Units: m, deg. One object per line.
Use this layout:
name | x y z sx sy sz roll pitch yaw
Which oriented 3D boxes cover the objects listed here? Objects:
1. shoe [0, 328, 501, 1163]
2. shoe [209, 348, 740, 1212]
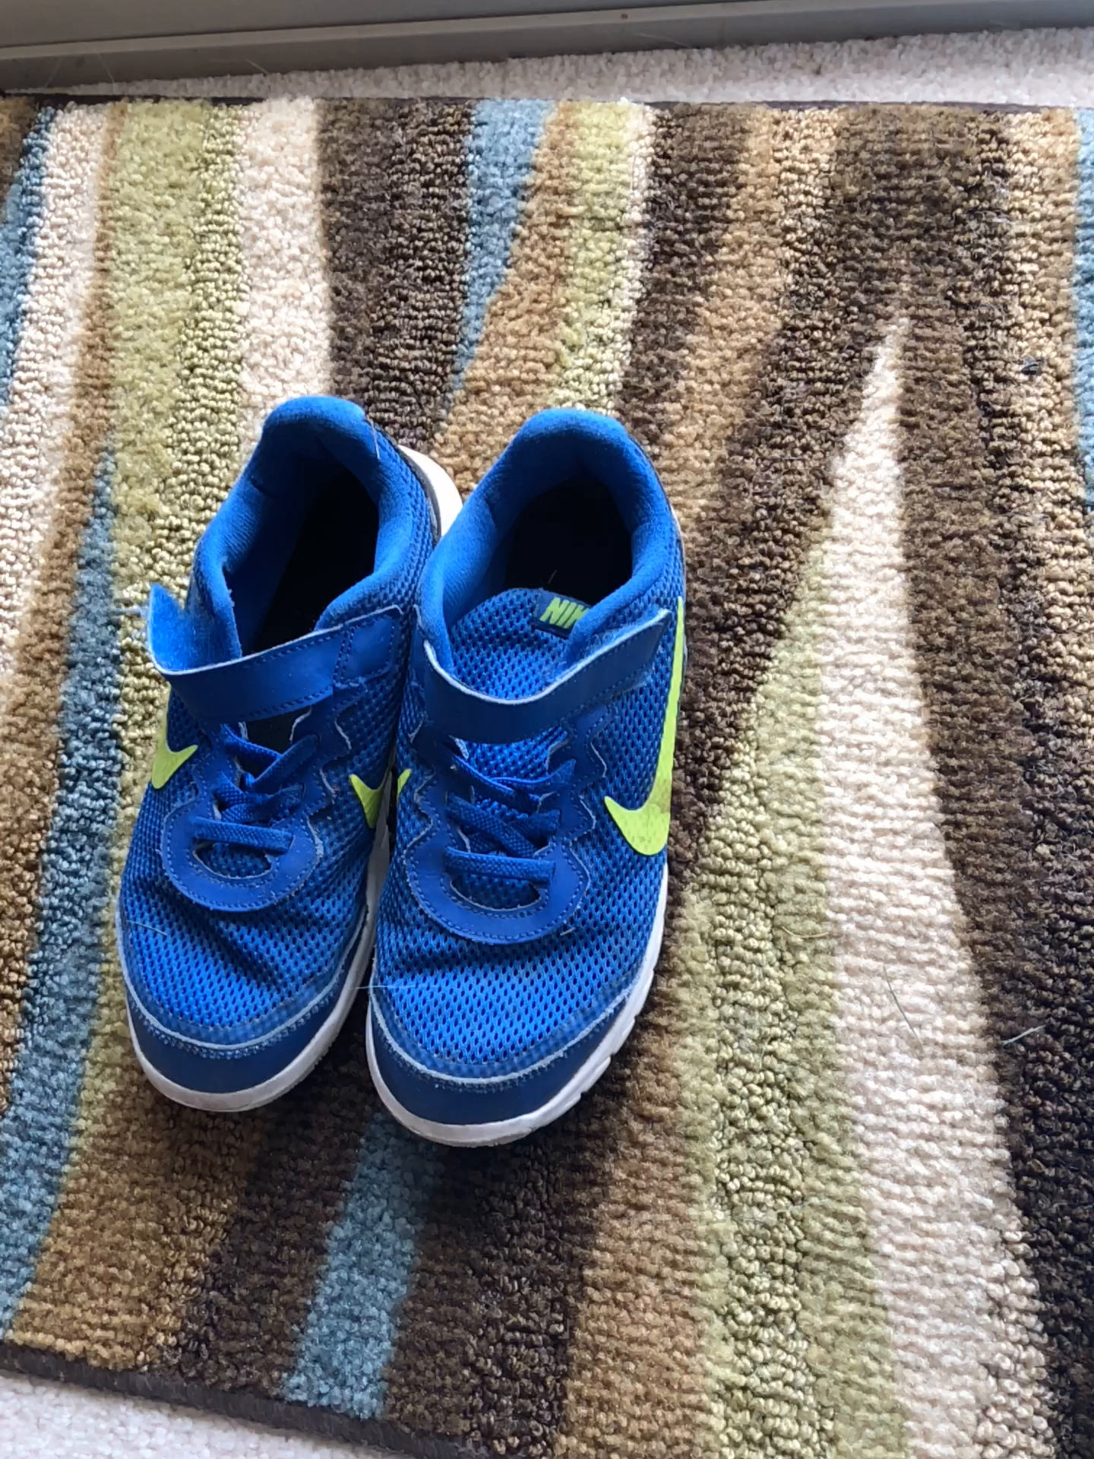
shoe | -0.099 0.002 0.382 0.102 0.075 0.233 11 76 11
shoe | -0.010 0.010 0.366 0.103 0.075 0.231 8 75 10
